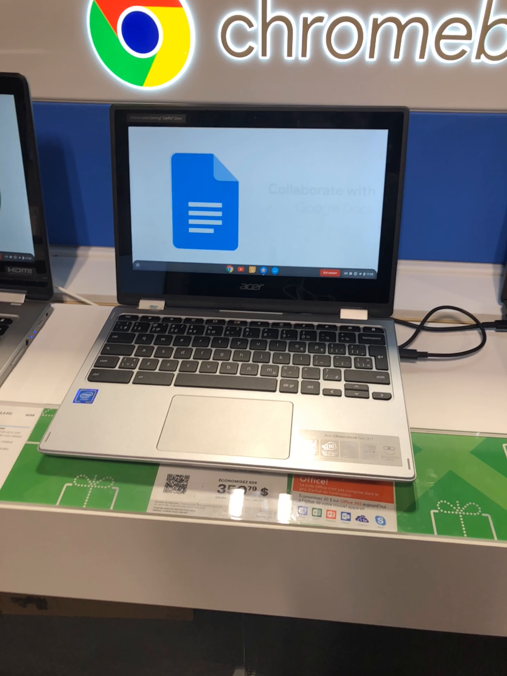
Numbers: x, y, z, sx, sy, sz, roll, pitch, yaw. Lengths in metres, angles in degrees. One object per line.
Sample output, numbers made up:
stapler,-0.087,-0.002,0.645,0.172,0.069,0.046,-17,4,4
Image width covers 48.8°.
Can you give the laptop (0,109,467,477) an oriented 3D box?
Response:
laptop,-0.012,-0.060,0.477,0.284,0.181,0.274,3,38,5
